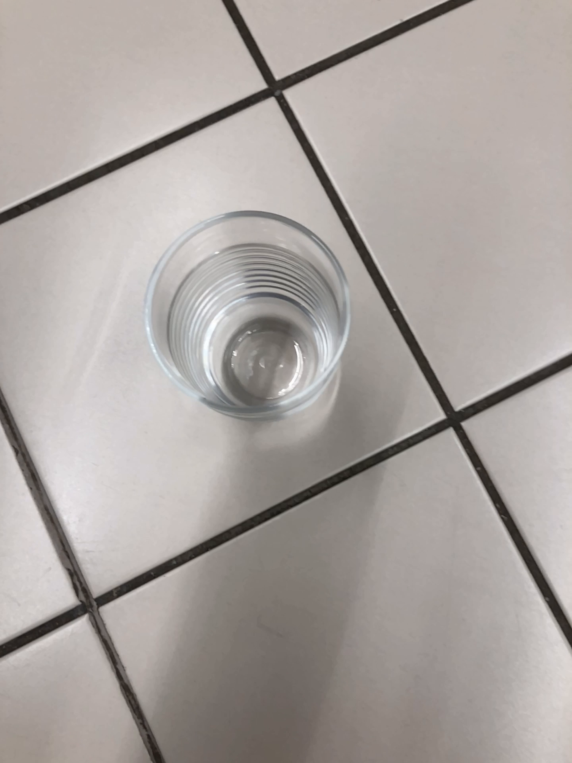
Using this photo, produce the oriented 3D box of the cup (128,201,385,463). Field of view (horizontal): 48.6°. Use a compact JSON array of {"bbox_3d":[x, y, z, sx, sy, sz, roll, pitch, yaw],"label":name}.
[{"bbox_3d":[-0.010,-0.010,0.256,0.076,0.105,0.079,0,82,1],"label":"cup"}]
